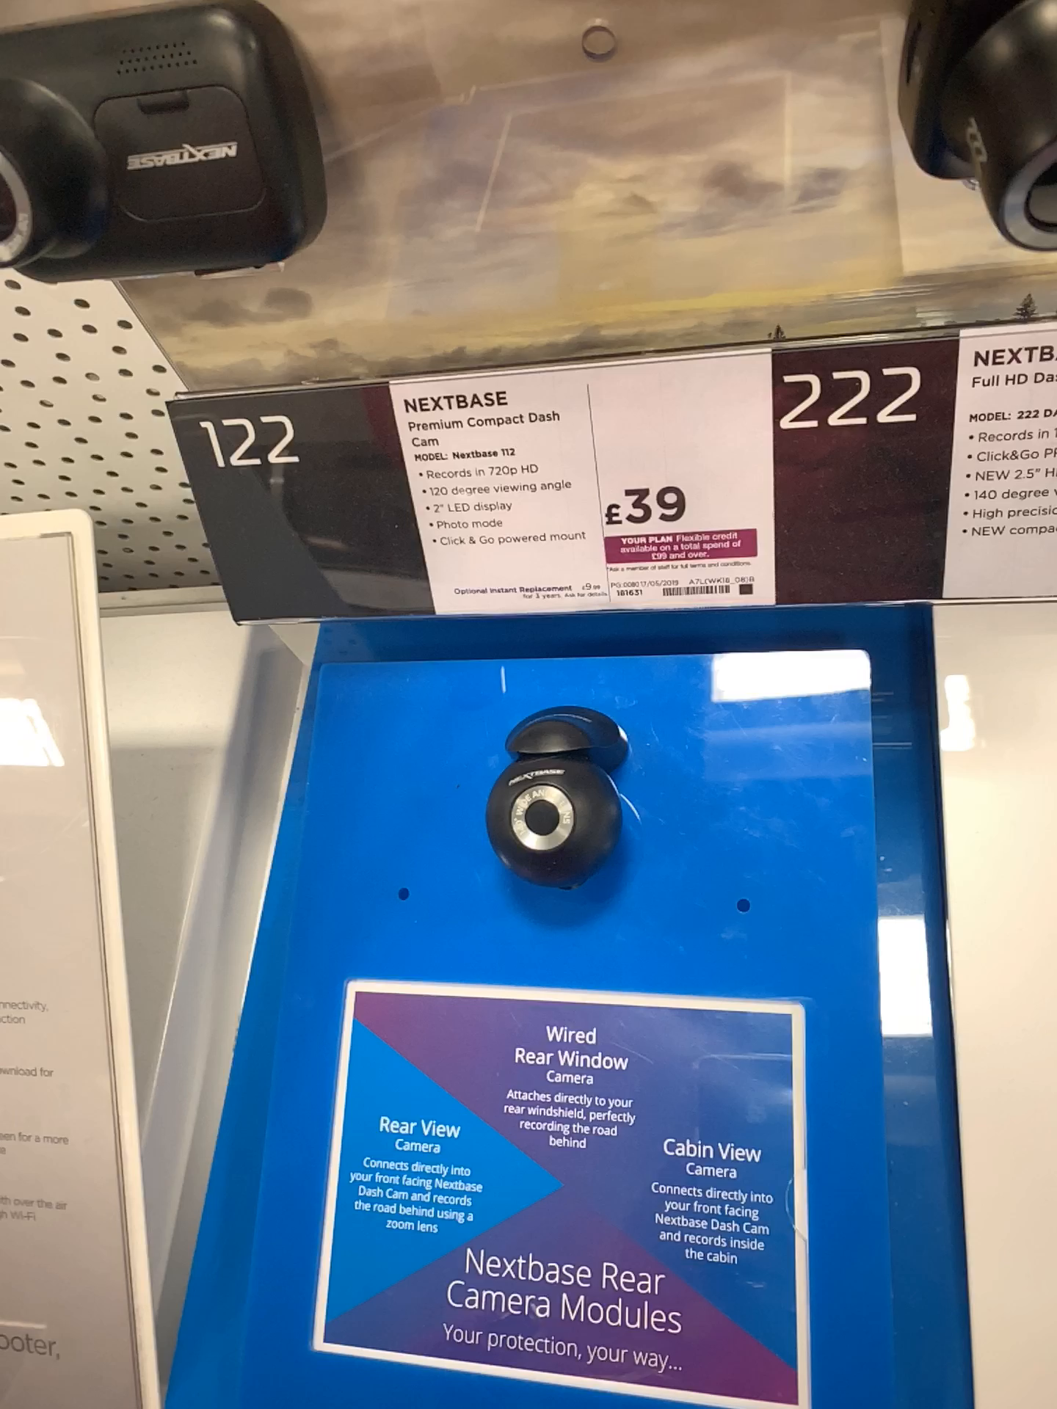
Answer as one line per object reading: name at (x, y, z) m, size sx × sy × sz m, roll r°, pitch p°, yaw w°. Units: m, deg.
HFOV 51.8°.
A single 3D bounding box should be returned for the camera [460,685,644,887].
camera at (0.008, 0.024, 0.298) m, size 0.040 × 0.050 × 0.050 m, roll -1°, pitch 80°, yaw 14°
